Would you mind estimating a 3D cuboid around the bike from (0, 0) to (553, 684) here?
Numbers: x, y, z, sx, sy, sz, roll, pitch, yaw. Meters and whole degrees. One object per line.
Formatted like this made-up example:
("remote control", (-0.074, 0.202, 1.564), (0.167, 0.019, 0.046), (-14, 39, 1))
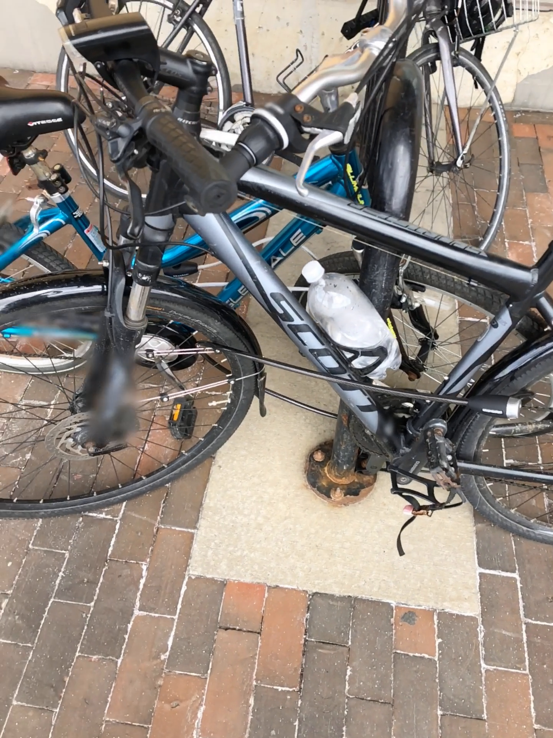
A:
("bike", (0.112, 0.003, 0.956), (1.508, 0.941, 0.676), (-1, 51, 1))
